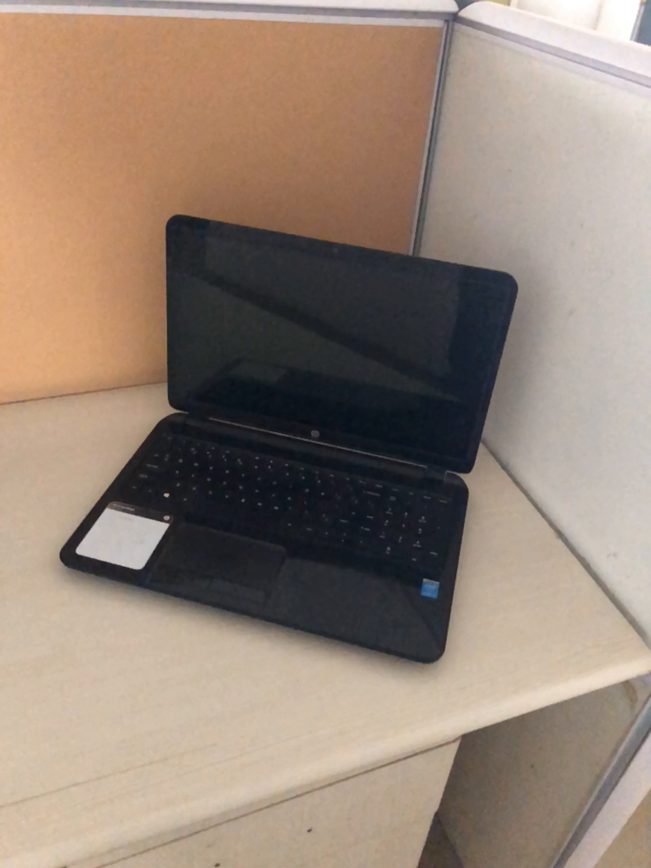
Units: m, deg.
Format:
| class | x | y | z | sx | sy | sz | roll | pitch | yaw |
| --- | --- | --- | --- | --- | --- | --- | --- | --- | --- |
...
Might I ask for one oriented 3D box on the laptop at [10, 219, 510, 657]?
| class | x | y | z | sx | sy | sz | roll | pitch | yaw |
| --- | --- | --- | --- | --- | --- | --- | --- | --- | --- |
| laptop | -0.037 | -0.015 | 0.675 | 0.350 | 0.225 | 0.266 | 13 | 39 | 10 |
